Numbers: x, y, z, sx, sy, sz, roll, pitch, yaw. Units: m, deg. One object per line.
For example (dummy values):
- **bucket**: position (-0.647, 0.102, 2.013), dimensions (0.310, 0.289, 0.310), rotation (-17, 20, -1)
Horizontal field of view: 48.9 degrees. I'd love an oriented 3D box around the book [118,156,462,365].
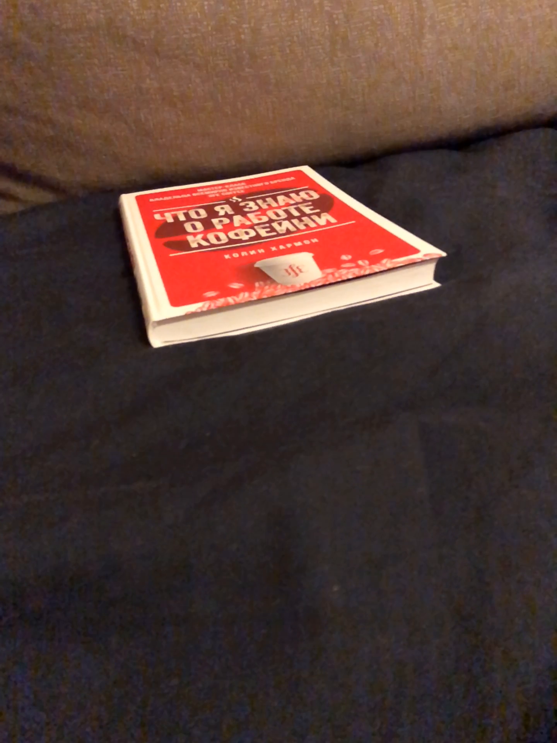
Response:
- **book**: position (-0.014, -0.086, 0.379), dimensions (0.153, 0.020, 0.223), rotation (-14, 34, -10)
